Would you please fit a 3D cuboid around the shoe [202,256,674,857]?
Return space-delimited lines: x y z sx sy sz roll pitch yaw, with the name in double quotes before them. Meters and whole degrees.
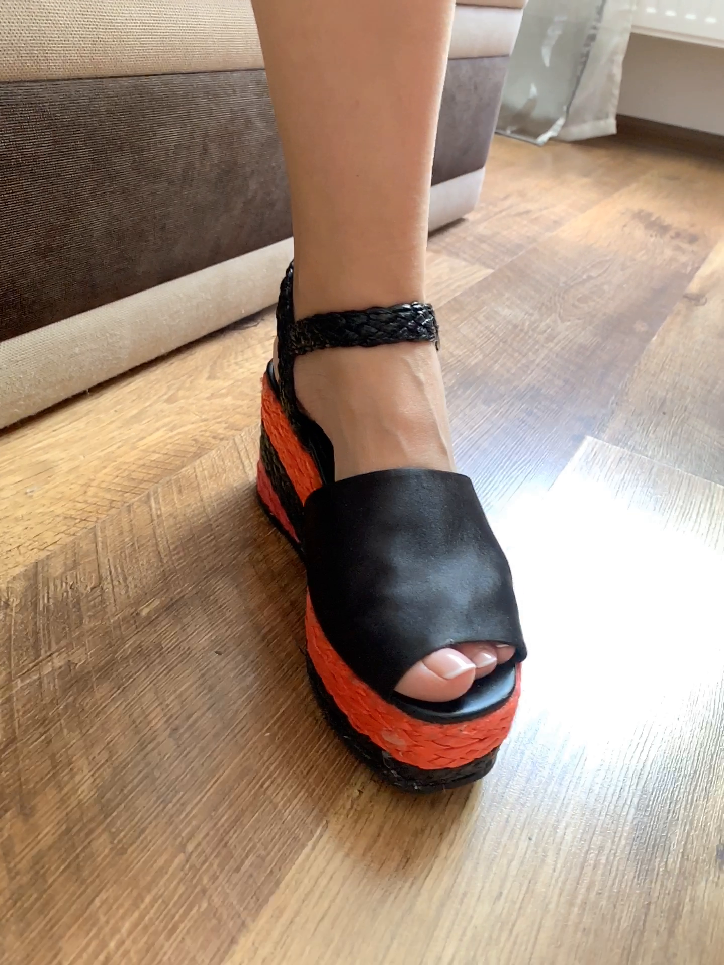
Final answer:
"shoe" -0.001 0.004 0.327 0.089 0.124 0.241 -6 37 -21
